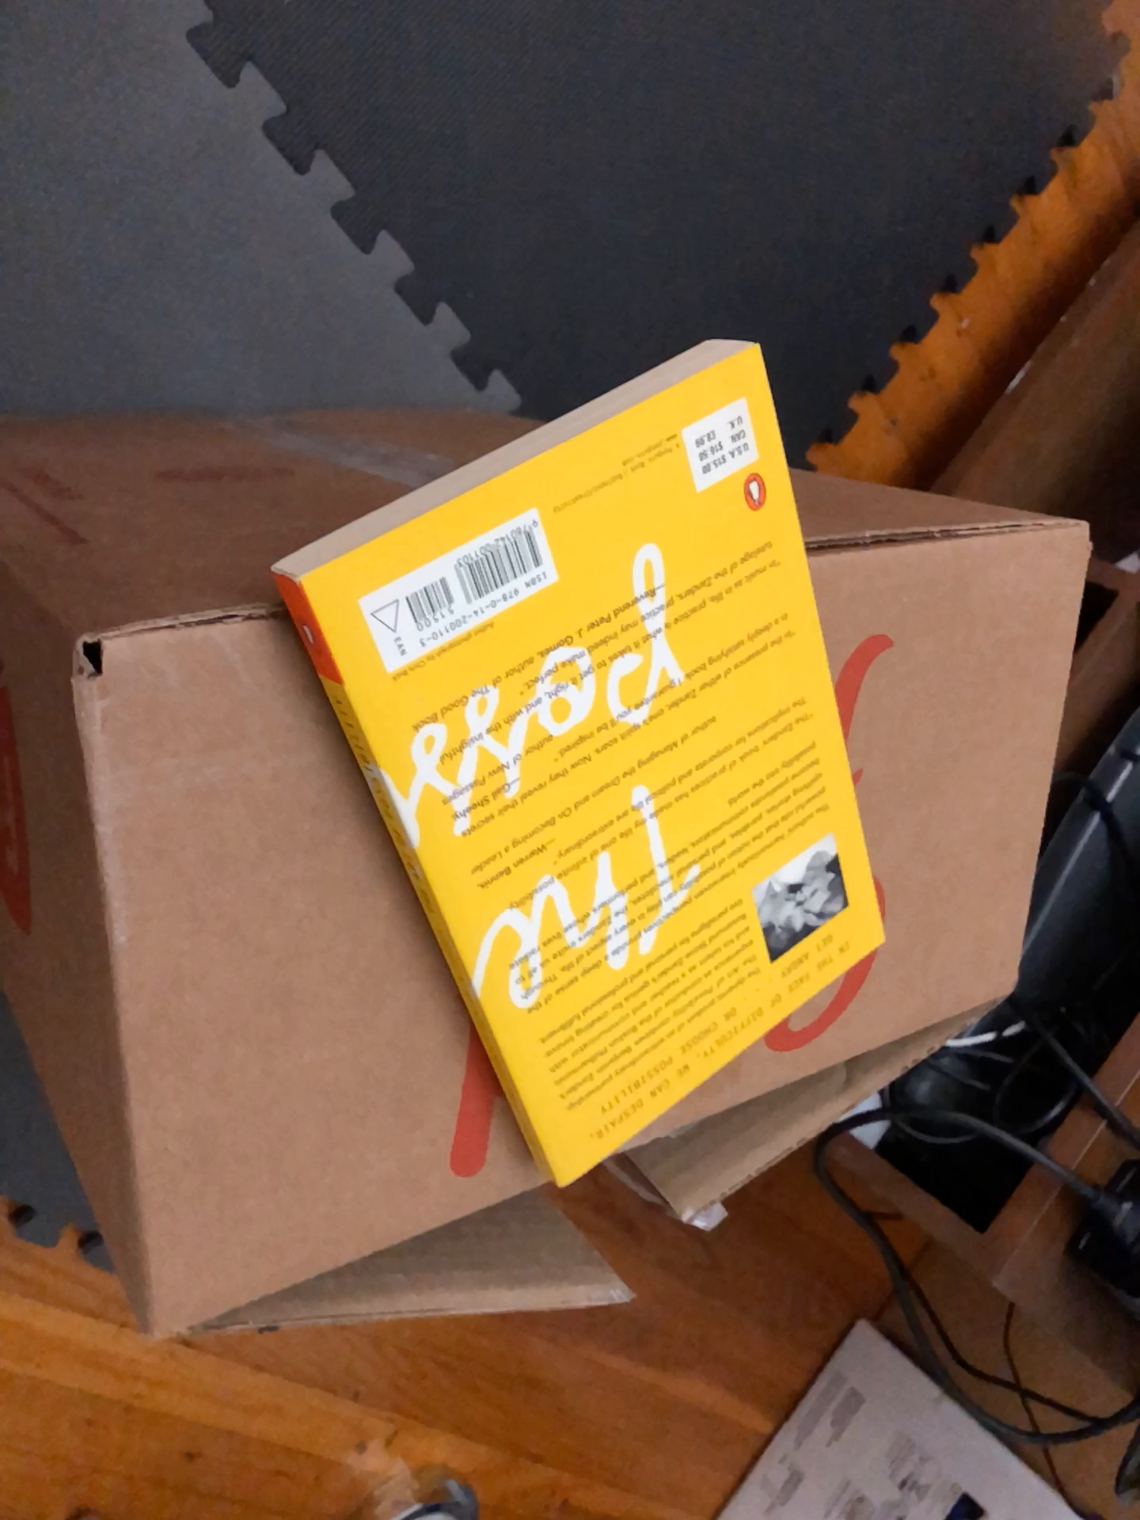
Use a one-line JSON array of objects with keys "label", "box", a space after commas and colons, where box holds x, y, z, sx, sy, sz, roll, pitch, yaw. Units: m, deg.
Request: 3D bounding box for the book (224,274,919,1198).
[{"label": "book", "box": [0.020, 0.000, 0.346, 0.150, 0.020, 0.210, -32, 122, -21]}]
